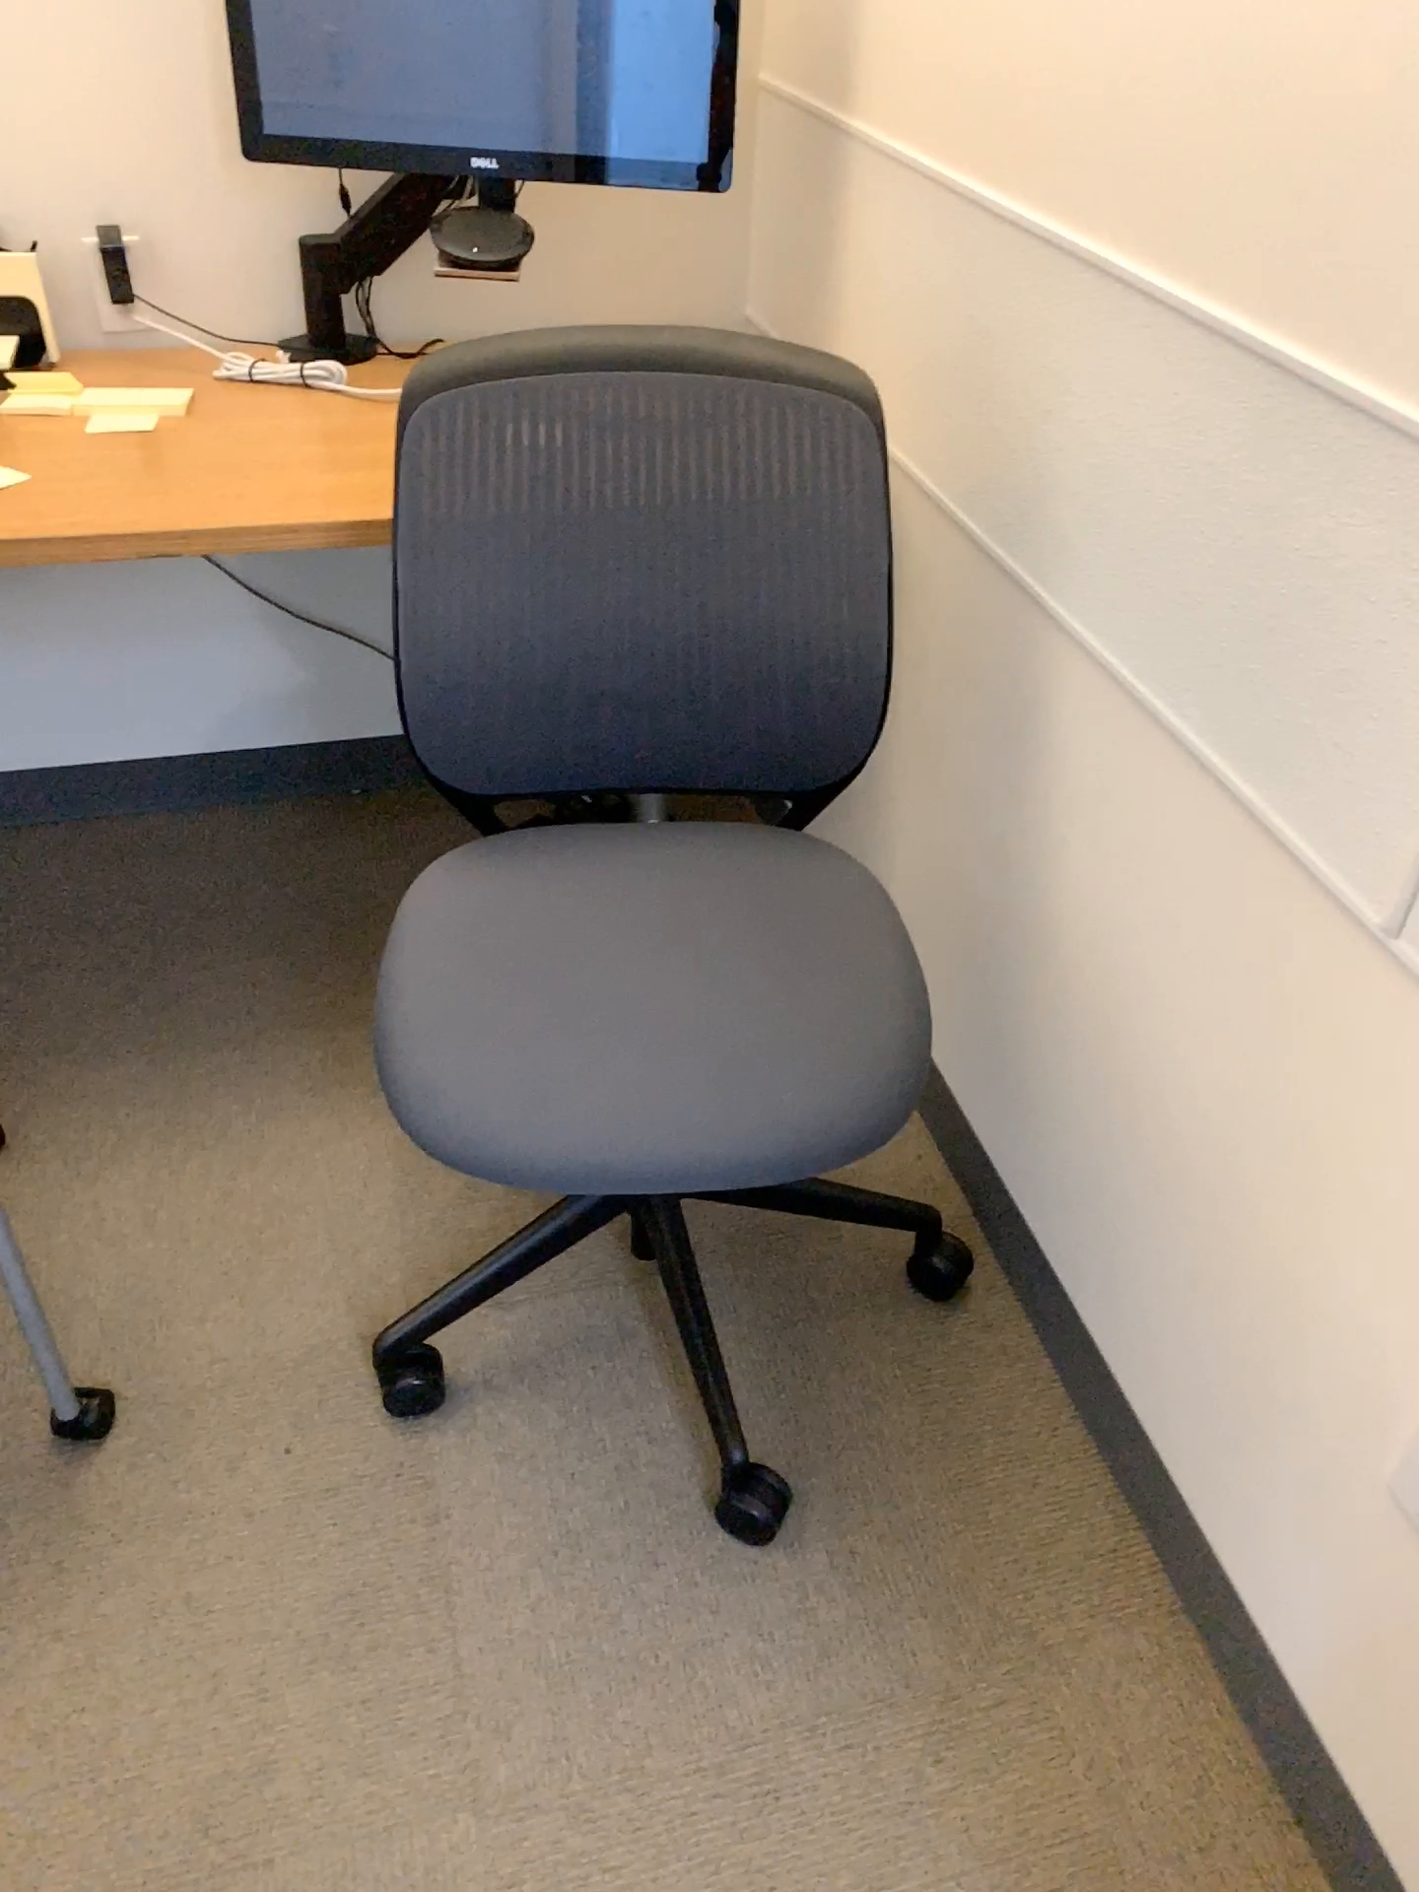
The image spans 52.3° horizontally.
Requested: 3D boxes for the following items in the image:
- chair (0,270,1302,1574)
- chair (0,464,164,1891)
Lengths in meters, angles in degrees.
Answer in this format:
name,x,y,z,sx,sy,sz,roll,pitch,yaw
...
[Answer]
name,x,y,z,sx,sy,sz,roll,pitch,yaw
chair,-0.067,-0.070,1.456,0.750,0.885,0.975,2,38,-2
chair,-0.901,0.111,1.192,0.531,0.686,0.794,-20,43,-27
